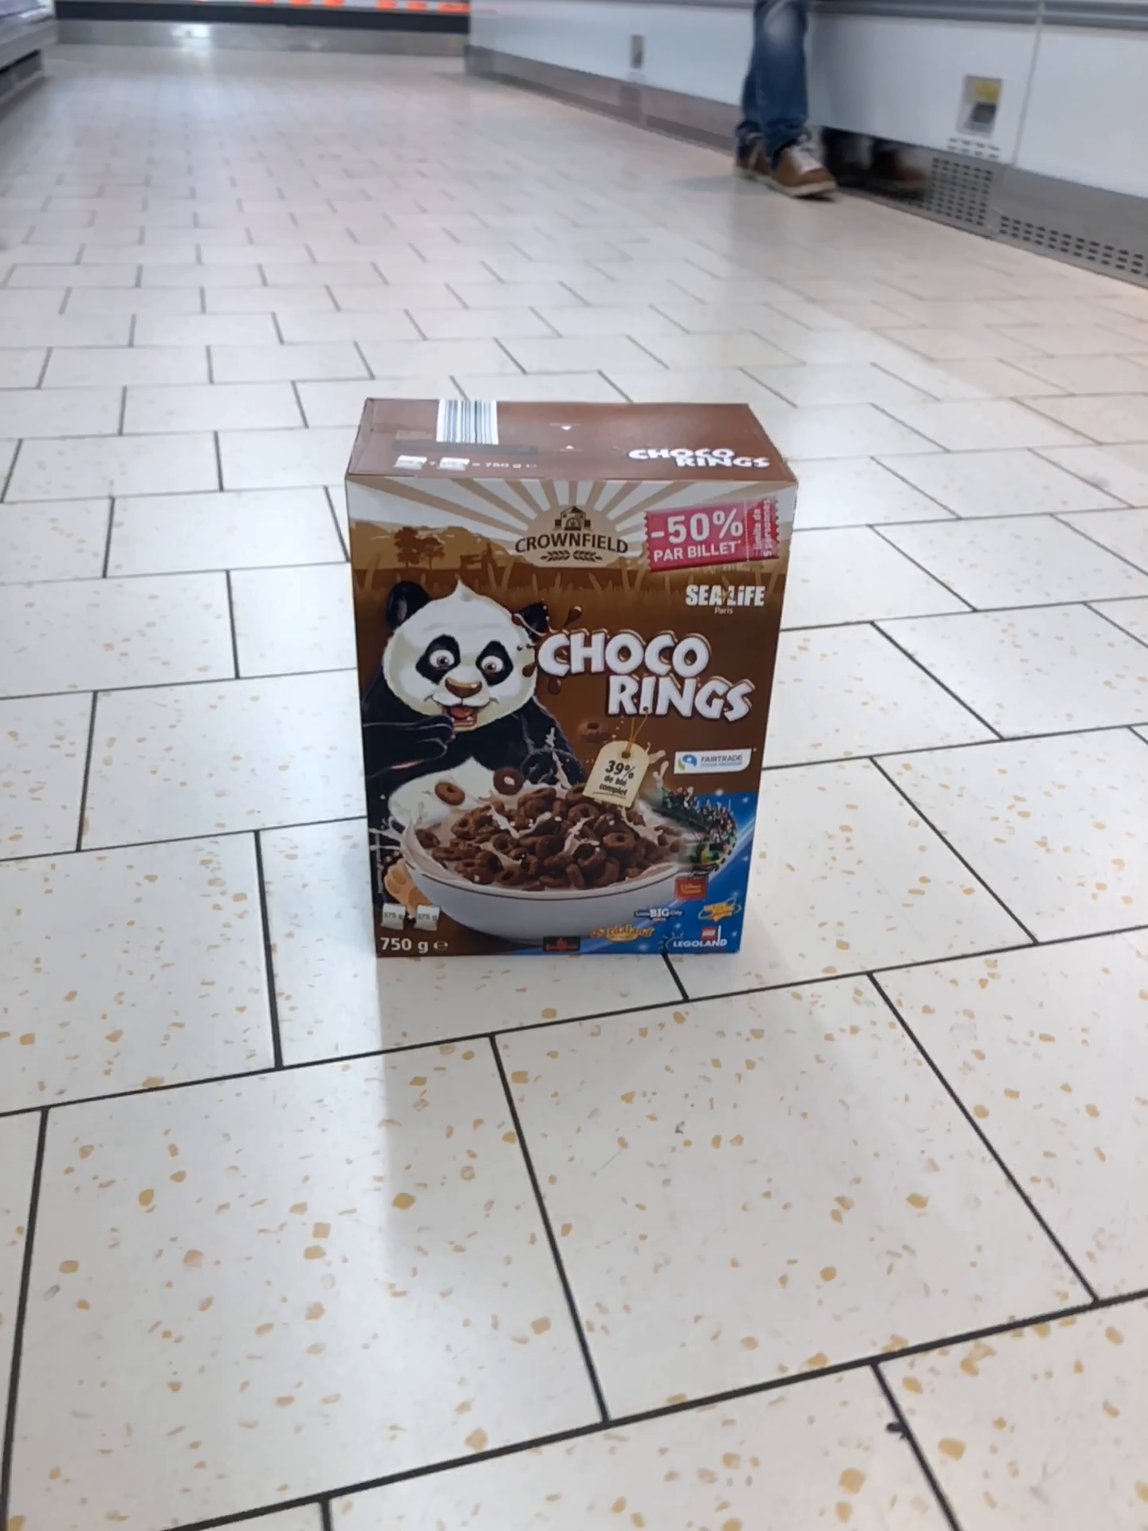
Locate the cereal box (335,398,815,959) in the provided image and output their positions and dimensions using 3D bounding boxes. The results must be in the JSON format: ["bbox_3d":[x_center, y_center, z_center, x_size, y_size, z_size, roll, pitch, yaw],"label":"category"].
[{"bbox_3d":[-0.005,-0.042,0.643,0.200,0.248,0.131,1,30,-3],"label":"cereal box"}]
